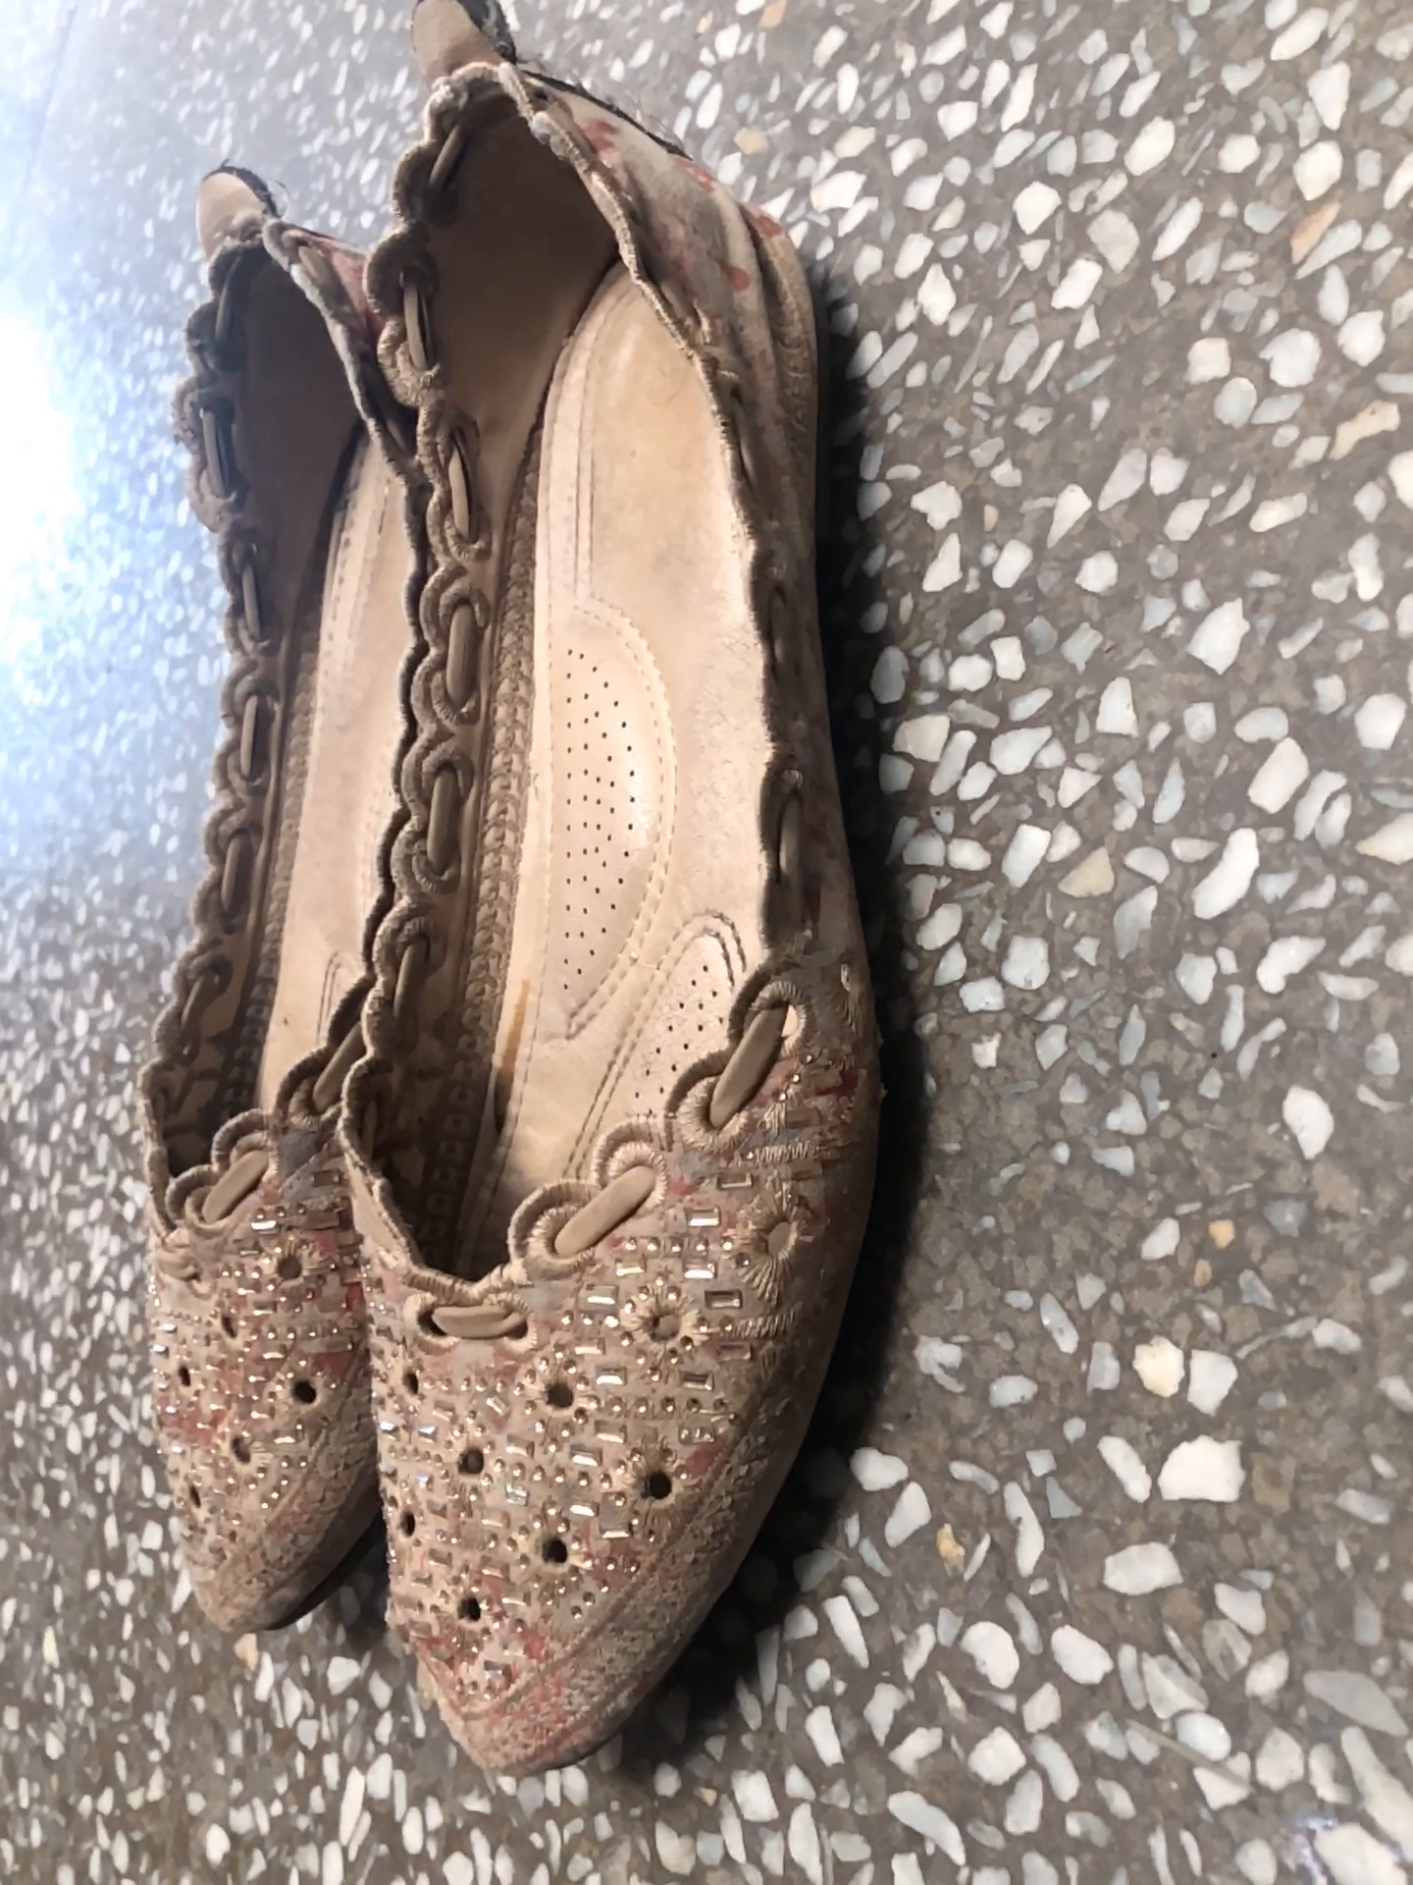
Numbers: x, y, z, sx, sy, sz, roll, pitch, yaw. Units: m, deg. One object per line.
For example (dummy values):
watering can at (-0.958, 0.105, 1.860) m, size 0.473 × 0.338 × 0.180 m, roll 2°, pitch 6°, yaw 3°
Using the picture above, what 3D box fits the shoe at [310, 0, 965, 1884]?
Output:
shoe at (-0.011, -0.015, 0.244) m, size 0.091 × 0.040 × 0.270 m, roll -5°, pitch 80°, yaw 44°

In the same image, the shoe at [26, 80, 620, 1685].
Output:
shoe at (-0.075, -0.016, 0.314) m, size 0.091 × 0.040 × 0.280 m, roll -5°, pitch 76°, yaw 44°
